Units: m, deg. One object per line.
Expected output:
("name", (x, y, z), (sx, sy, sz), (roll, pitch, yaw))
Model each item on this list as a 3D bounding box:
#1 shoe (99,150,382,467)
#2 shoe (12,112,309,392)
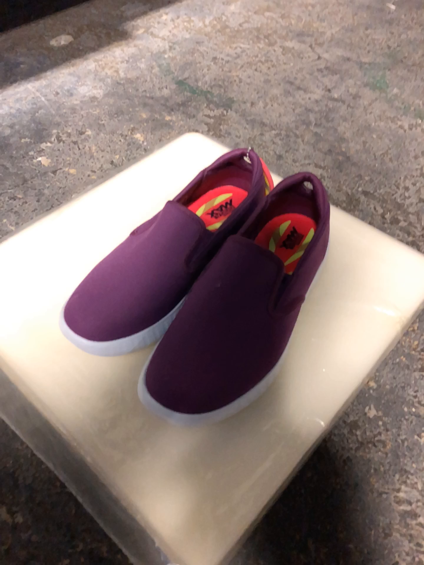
("shoe", (0.035, 0.005, 0.382), (0.100, 0.089, 0.241), (28, 55, 20))
("shoe", (-0.029, -0.044, 0.426), (0.100, 0.089, 0.261), (31, 56, 23))
